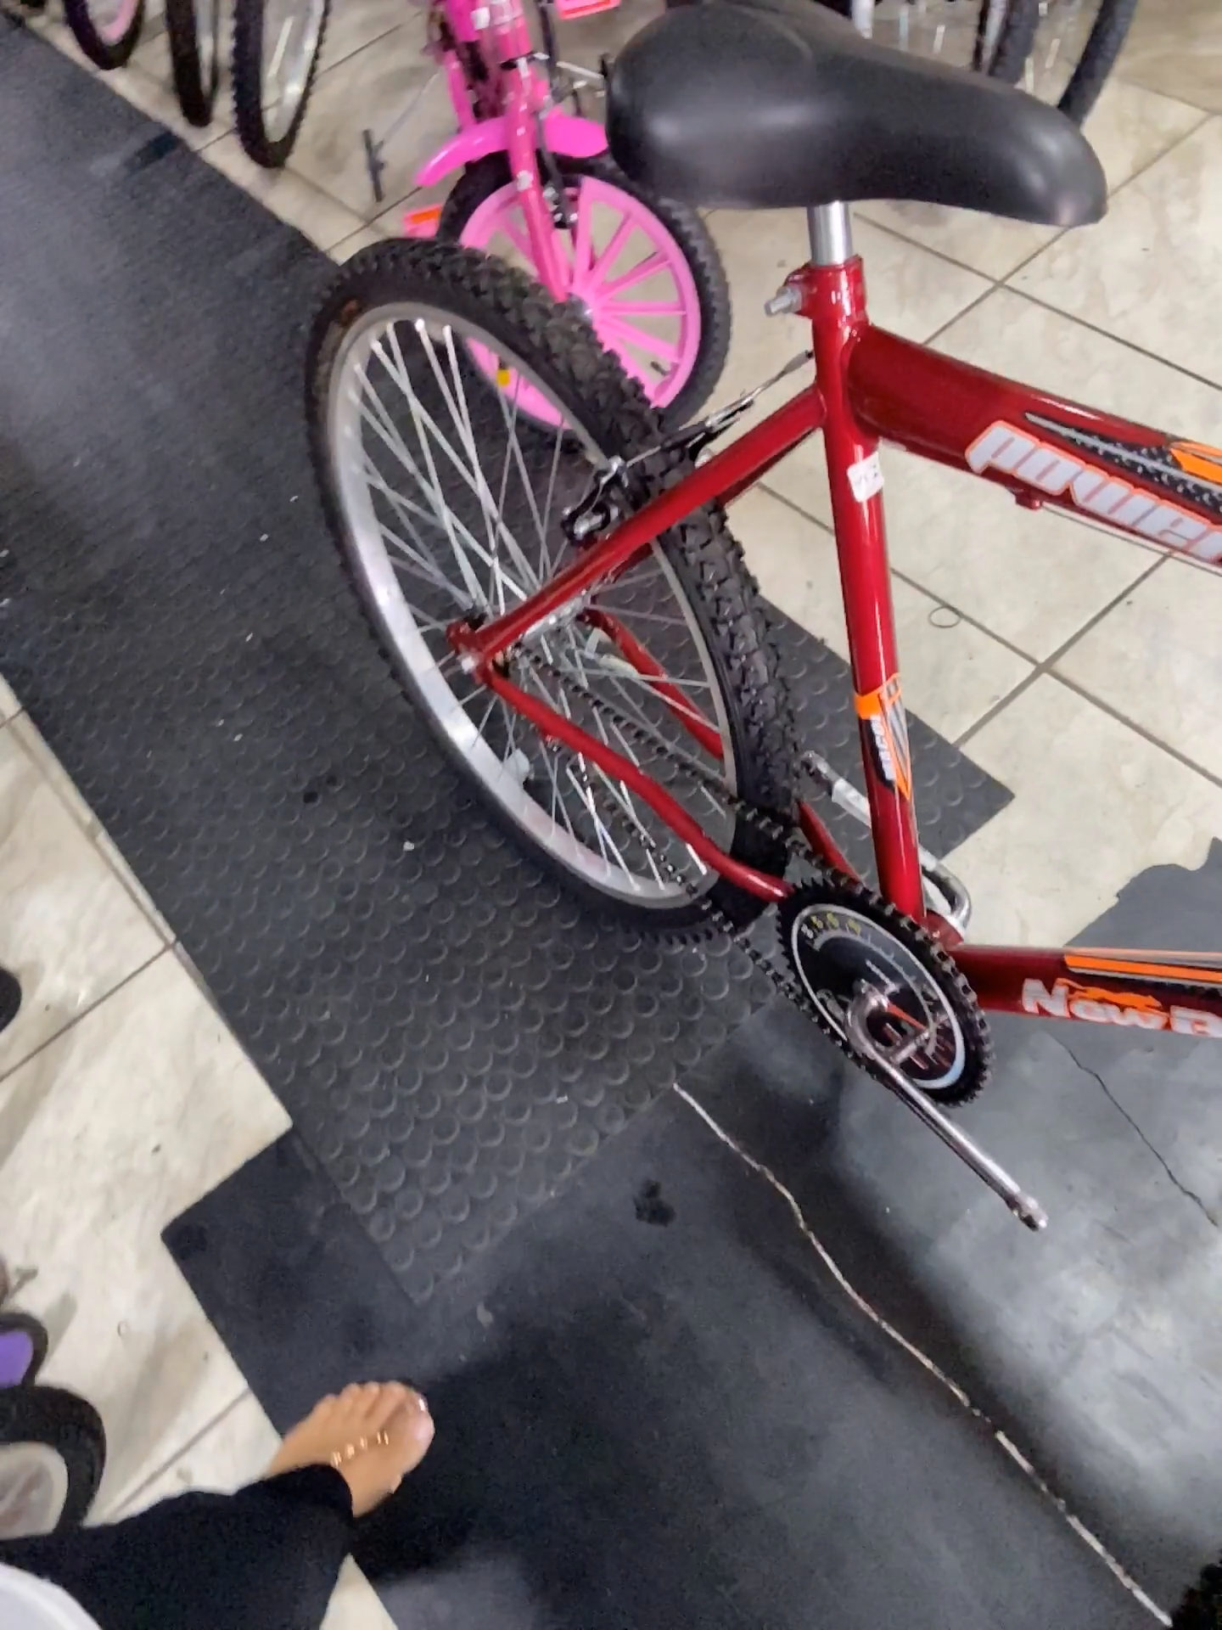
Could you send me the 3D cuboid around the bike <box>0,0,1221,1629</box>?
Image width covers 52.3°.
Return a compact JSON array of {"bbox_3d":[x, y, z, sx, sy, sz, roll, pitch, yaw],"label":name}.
[{"bbox_3d":[0.275,-0.160,0.705,1.586,1.030,0.566,31,70,30],"label":"bike"}]
